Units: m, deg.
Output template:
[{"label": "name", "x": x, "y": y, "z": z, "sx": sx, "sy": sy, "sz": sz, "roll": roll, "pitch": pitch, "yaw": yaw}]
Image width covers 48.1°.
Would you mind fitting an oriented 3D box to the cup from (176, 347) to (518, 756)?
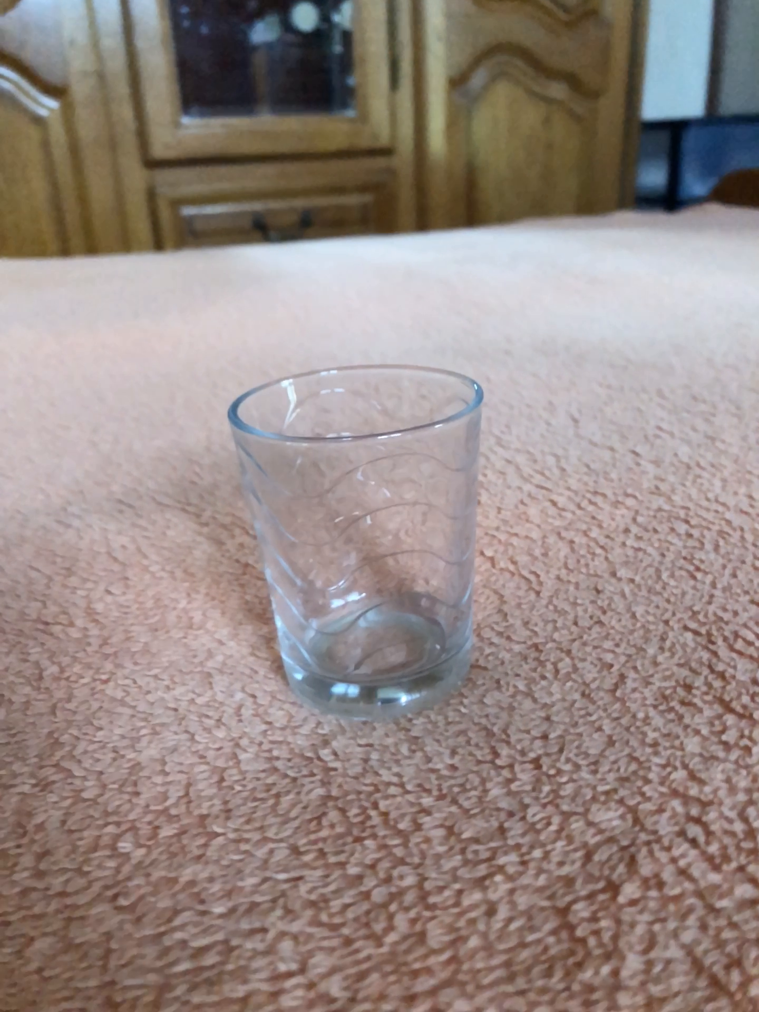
[{"label": "cup", "x": -0.004, "y": 0.006, "z": 0.223, "sx": 0.060, "sy": 0.080, "sz": 0.060, "roll": -4, "pitch": 23, "yaw": 2}]
